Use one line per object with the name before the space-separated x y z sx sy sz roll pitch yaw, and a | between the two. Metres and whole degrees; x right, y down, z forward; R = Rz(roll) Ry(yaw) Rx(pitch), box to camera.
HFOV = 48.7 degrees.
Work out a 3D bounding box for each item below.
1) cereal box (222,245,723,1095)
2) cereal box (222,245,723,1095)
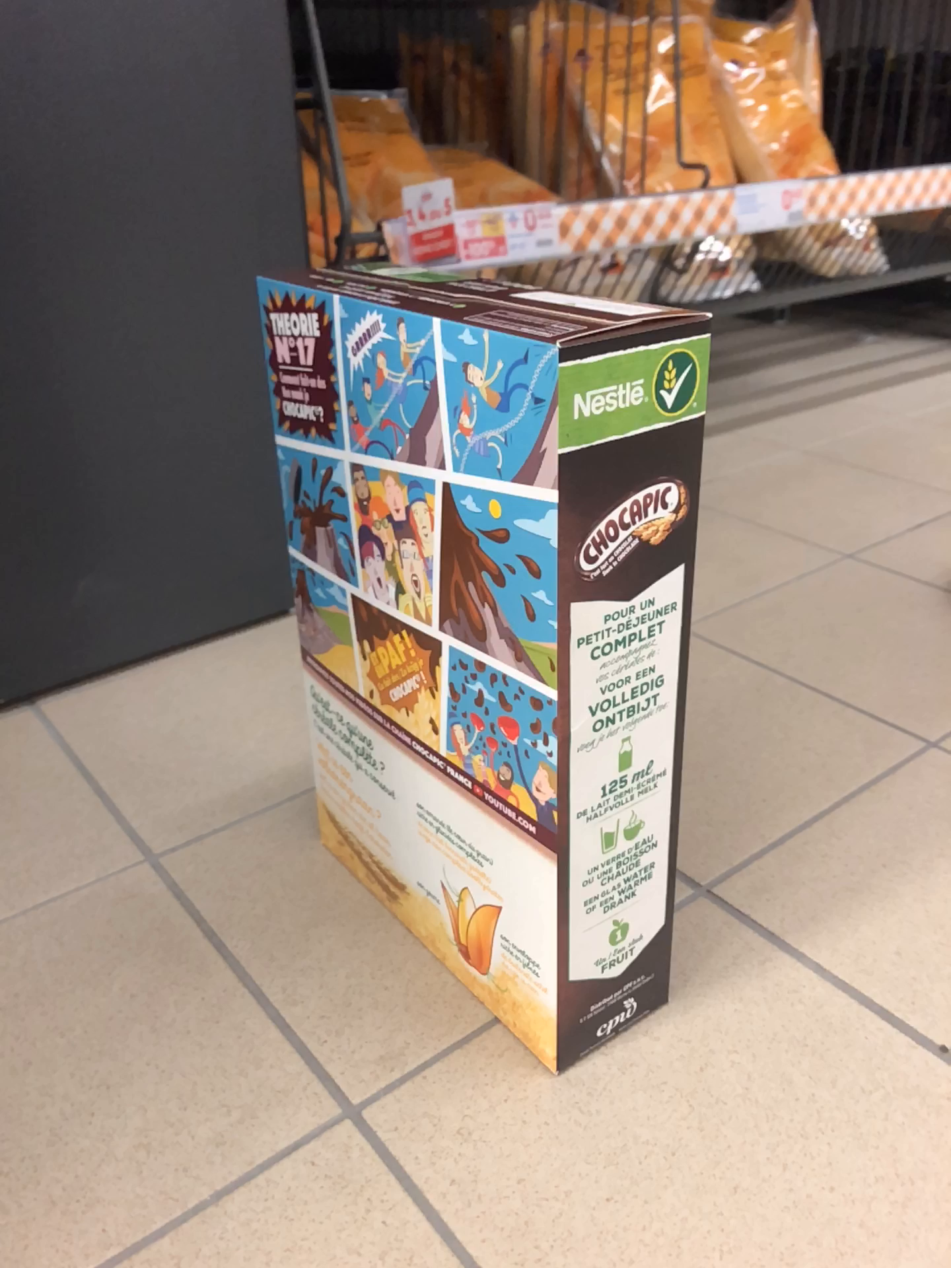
cereal box | -0.009 0.002 0.430 0.070 0.288 0.200 -19 30 -32
cereal box | -0.009 0.002 0.430 0.070 0.288 0.200 -19 30 -32
